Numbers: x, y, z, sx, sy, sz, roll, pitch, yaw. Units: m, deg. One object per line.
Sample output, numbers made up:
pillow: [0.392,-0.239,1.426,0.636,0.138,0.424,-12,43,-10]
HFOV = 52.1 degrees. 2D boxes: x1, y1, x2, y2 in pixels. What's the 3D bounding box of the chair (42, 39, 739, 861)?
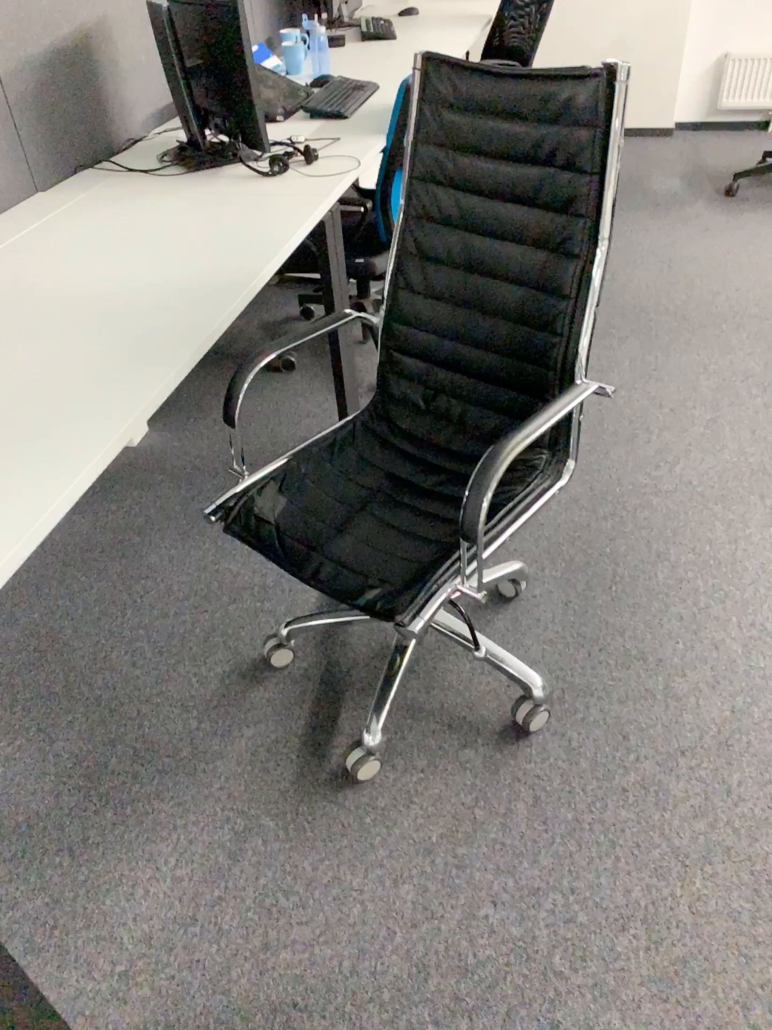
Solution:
chair: [0.043,-0.122,1.417,0.642,1.133,0.692,29,50,34]
